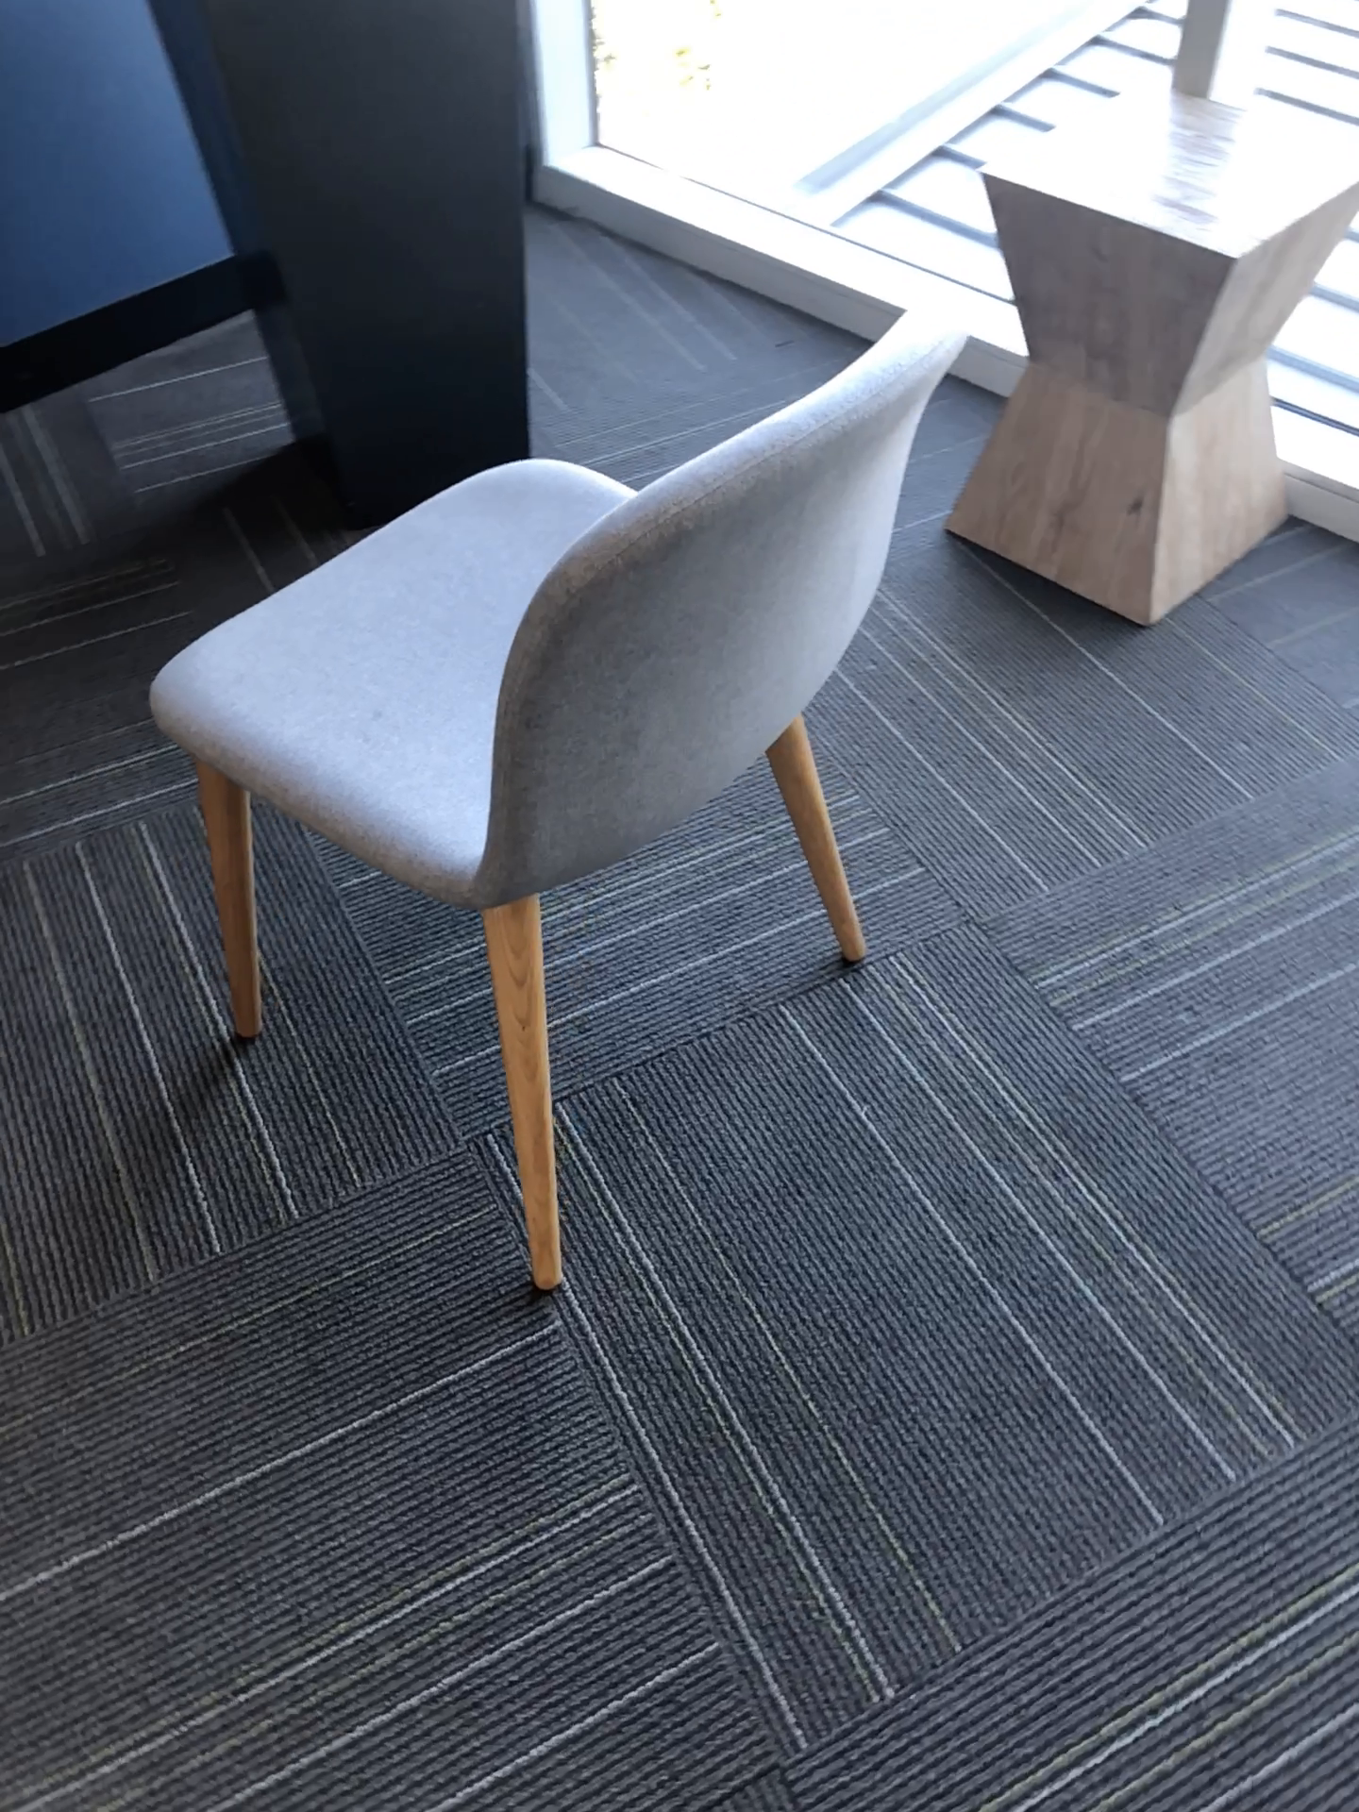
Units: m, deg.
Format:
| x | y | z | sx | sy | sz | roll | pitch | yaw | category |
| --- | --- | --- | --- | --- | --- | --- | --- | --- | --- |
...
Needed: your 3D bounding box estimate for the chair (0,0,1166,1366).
| x | y | z | sx | sy | sz | roll | pitch | yaw | category |
| --- | --- | --- | --- | --- | --- | --- | --- | --- | --- |
| -0.125 | -0.199 | 1.230 | 0.611 | 0.846 | 0.561 | 34 | 56 | 25 | chair |
